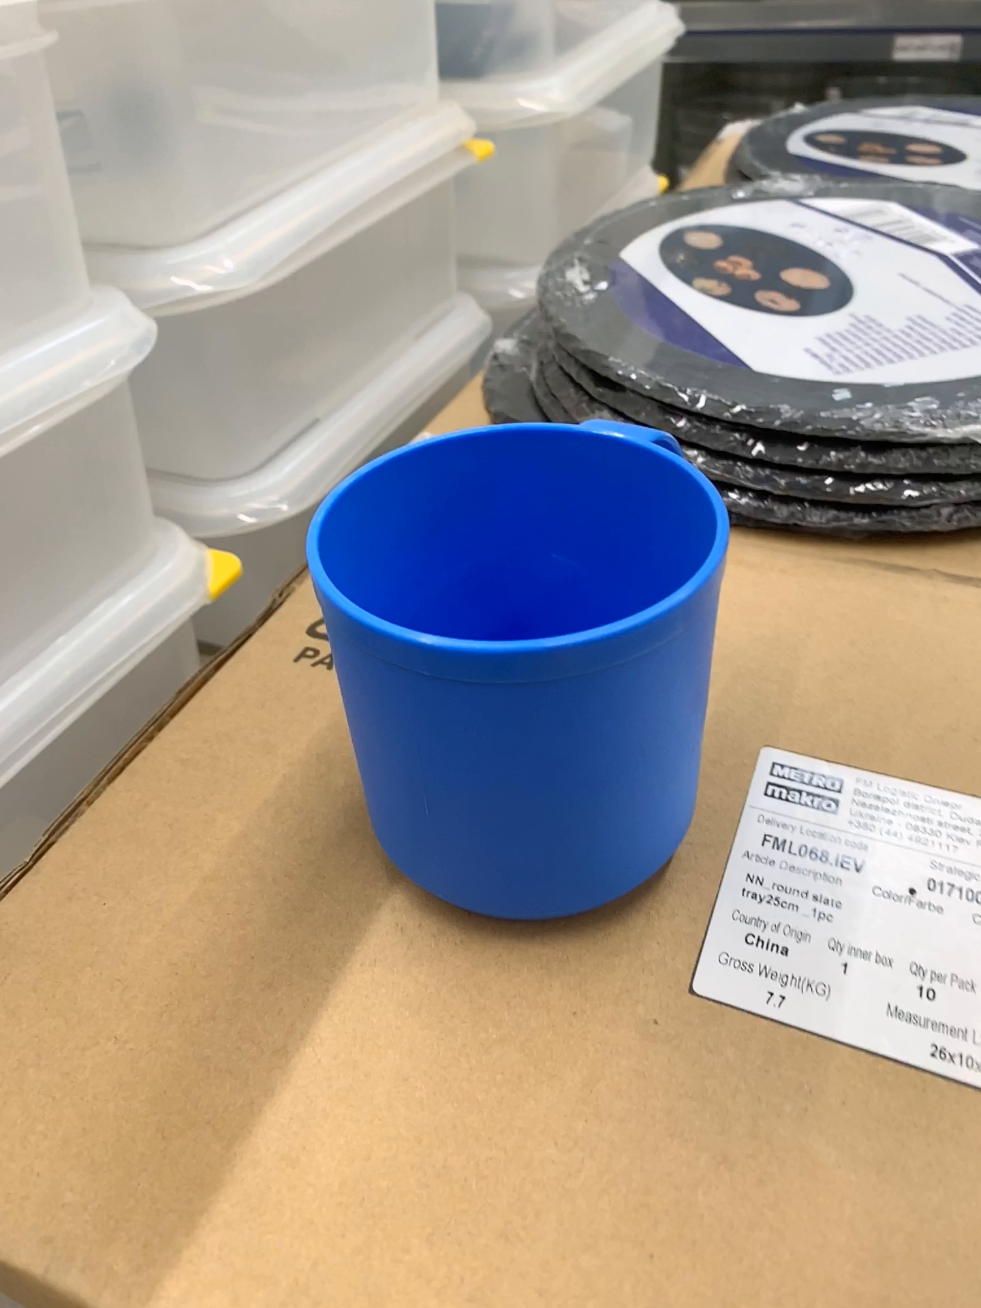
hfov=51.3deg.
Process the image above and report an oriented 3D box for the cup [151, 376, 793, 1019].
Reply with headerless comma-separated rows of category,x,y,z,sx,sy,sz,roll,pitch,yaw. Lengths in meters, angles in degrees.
cup,0.005,0.000,0.227,0.089,0.071,0.110,15,43,23
